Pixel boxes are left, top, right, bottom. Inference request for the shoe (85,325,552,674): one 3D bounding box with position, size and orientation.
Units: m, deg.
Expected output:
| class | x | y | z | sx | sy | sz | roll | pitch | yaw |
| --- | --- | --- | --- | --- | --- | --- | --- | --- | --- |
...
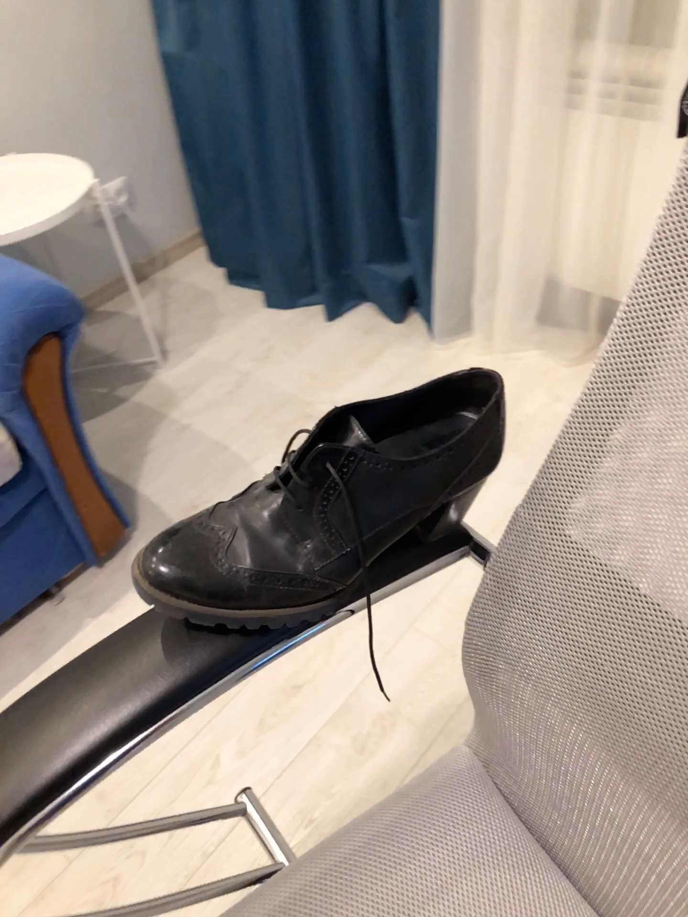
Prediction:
| class | x | y | z | sx | sy | sz | roll | pitch | yaw |
| --- | --- | --- | --- | --- | --- | --- | --- | --- | --- |
| shoe | -0.014 | 0.016 | 0.473 | 0.250 | 0.119 | 0.101 | -16 | 42 | -21 |
